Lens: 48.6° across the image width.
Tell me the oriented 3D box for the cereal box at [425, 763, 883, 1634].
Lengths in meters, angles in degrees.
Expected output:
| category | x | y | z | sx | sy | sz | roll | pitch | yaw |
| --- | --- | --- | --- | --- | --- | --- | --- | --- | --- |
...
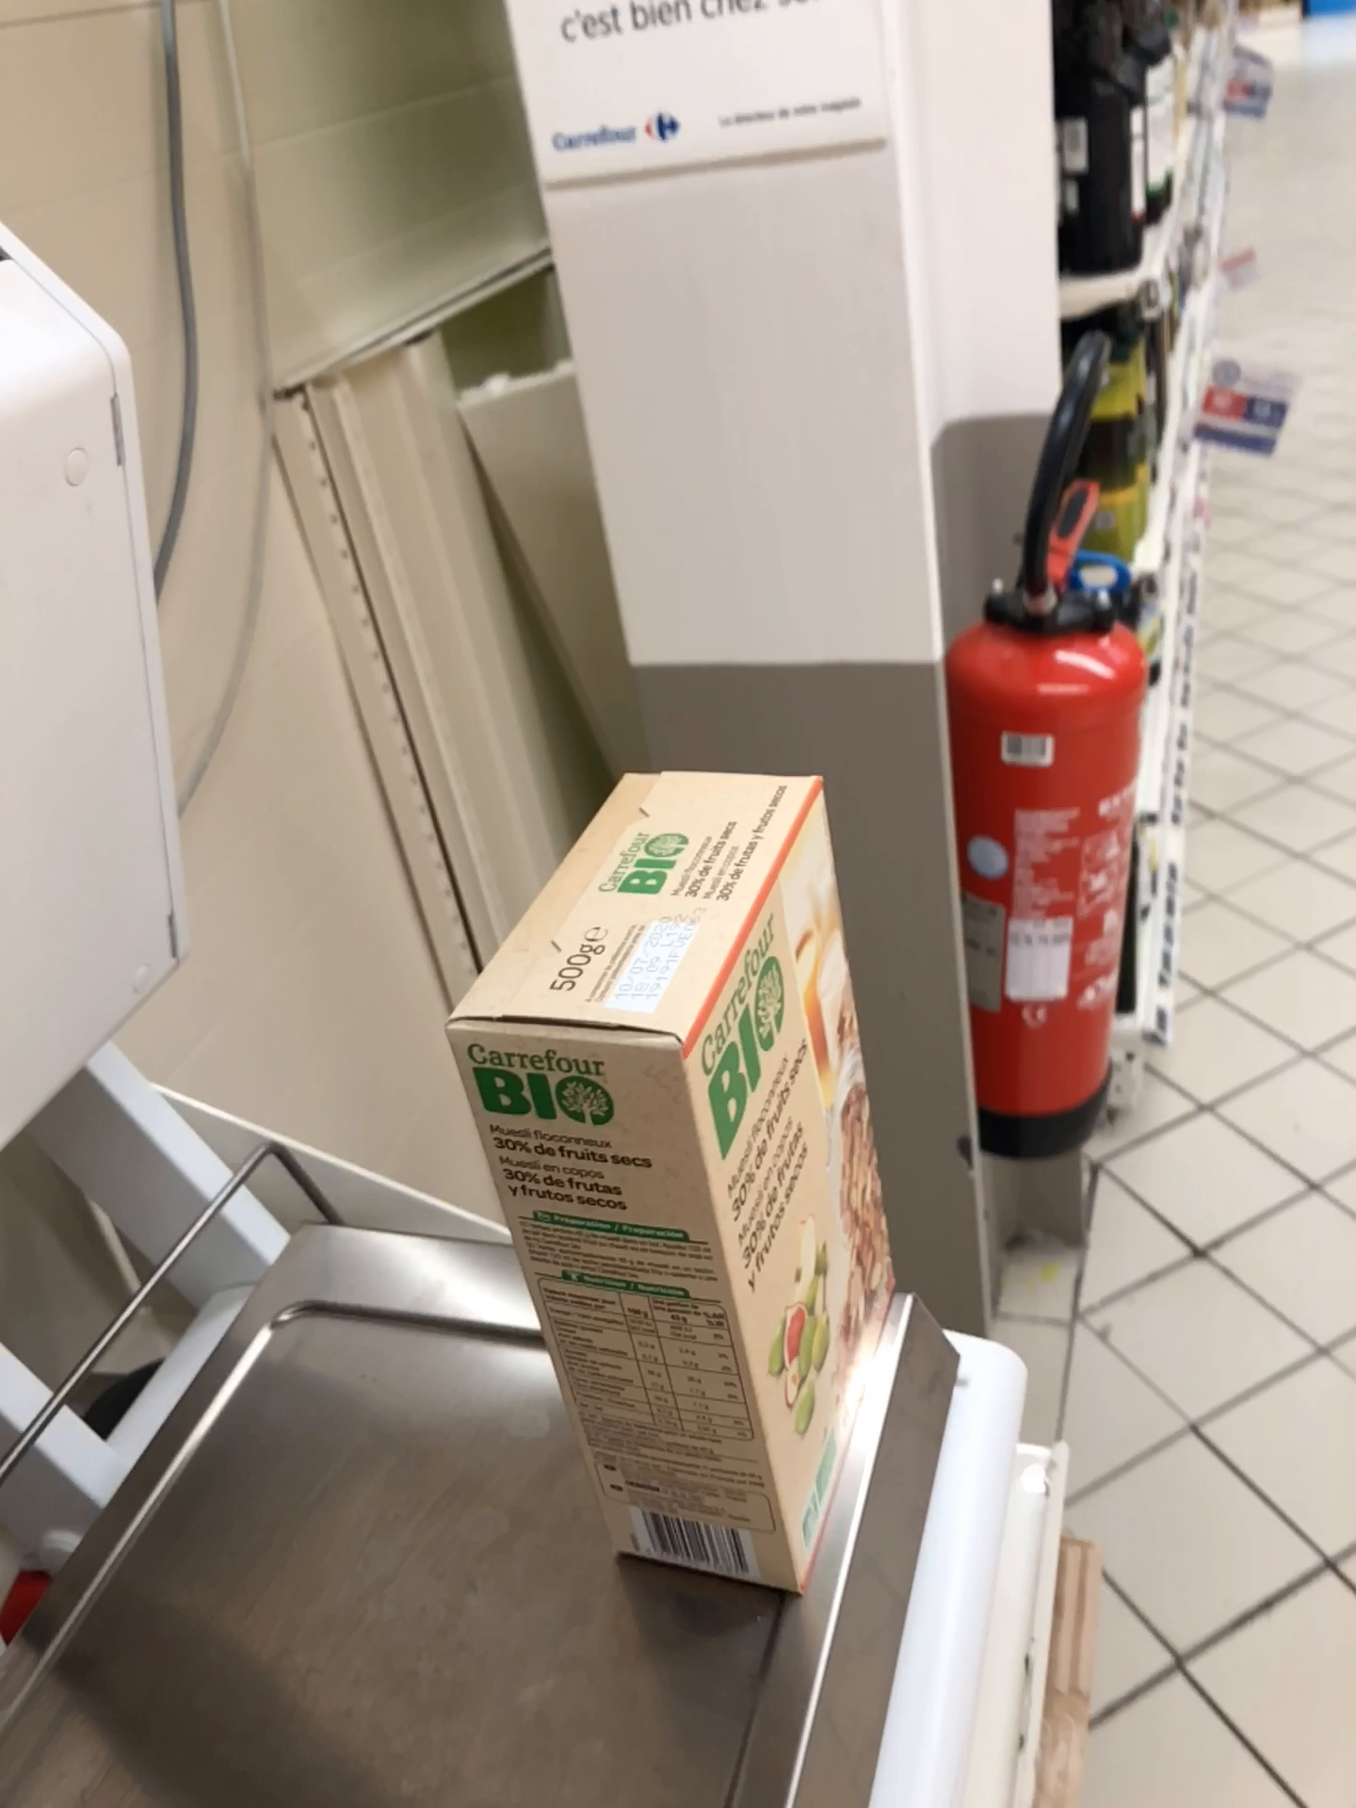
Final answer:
| category | x | y | z | sx | sy | sz | roll | pitch | yaw |
| --- | --- | --- | --- | --- | --- | --- | --- | --- | --- |
| cereal box | 0.008 | 0.084 | 0.433 | 0.060 | 0.209 | 0.131 | 4 | 35 | 20 |
